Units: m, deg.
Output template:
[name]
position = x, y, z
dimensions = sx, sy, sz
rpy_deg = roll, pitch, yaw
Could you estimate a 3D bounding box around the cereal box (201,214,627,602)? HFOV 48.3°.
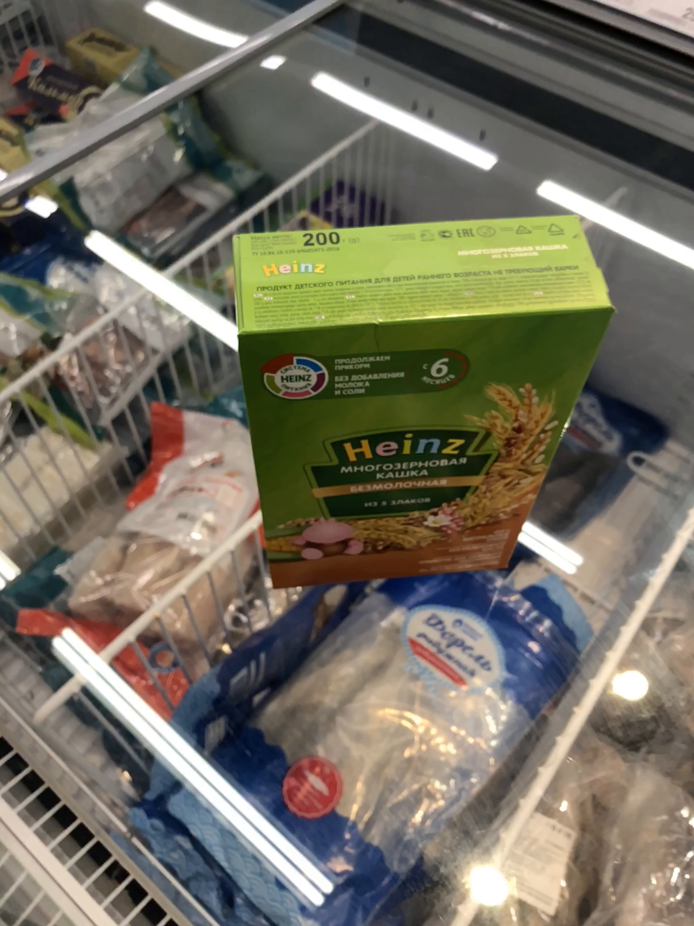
[cereal box]
position = 0.020, -0.009, 0.348
dimensions = 0.140, 0.199, 0.050
rpy_deg = -4, 56, -4
